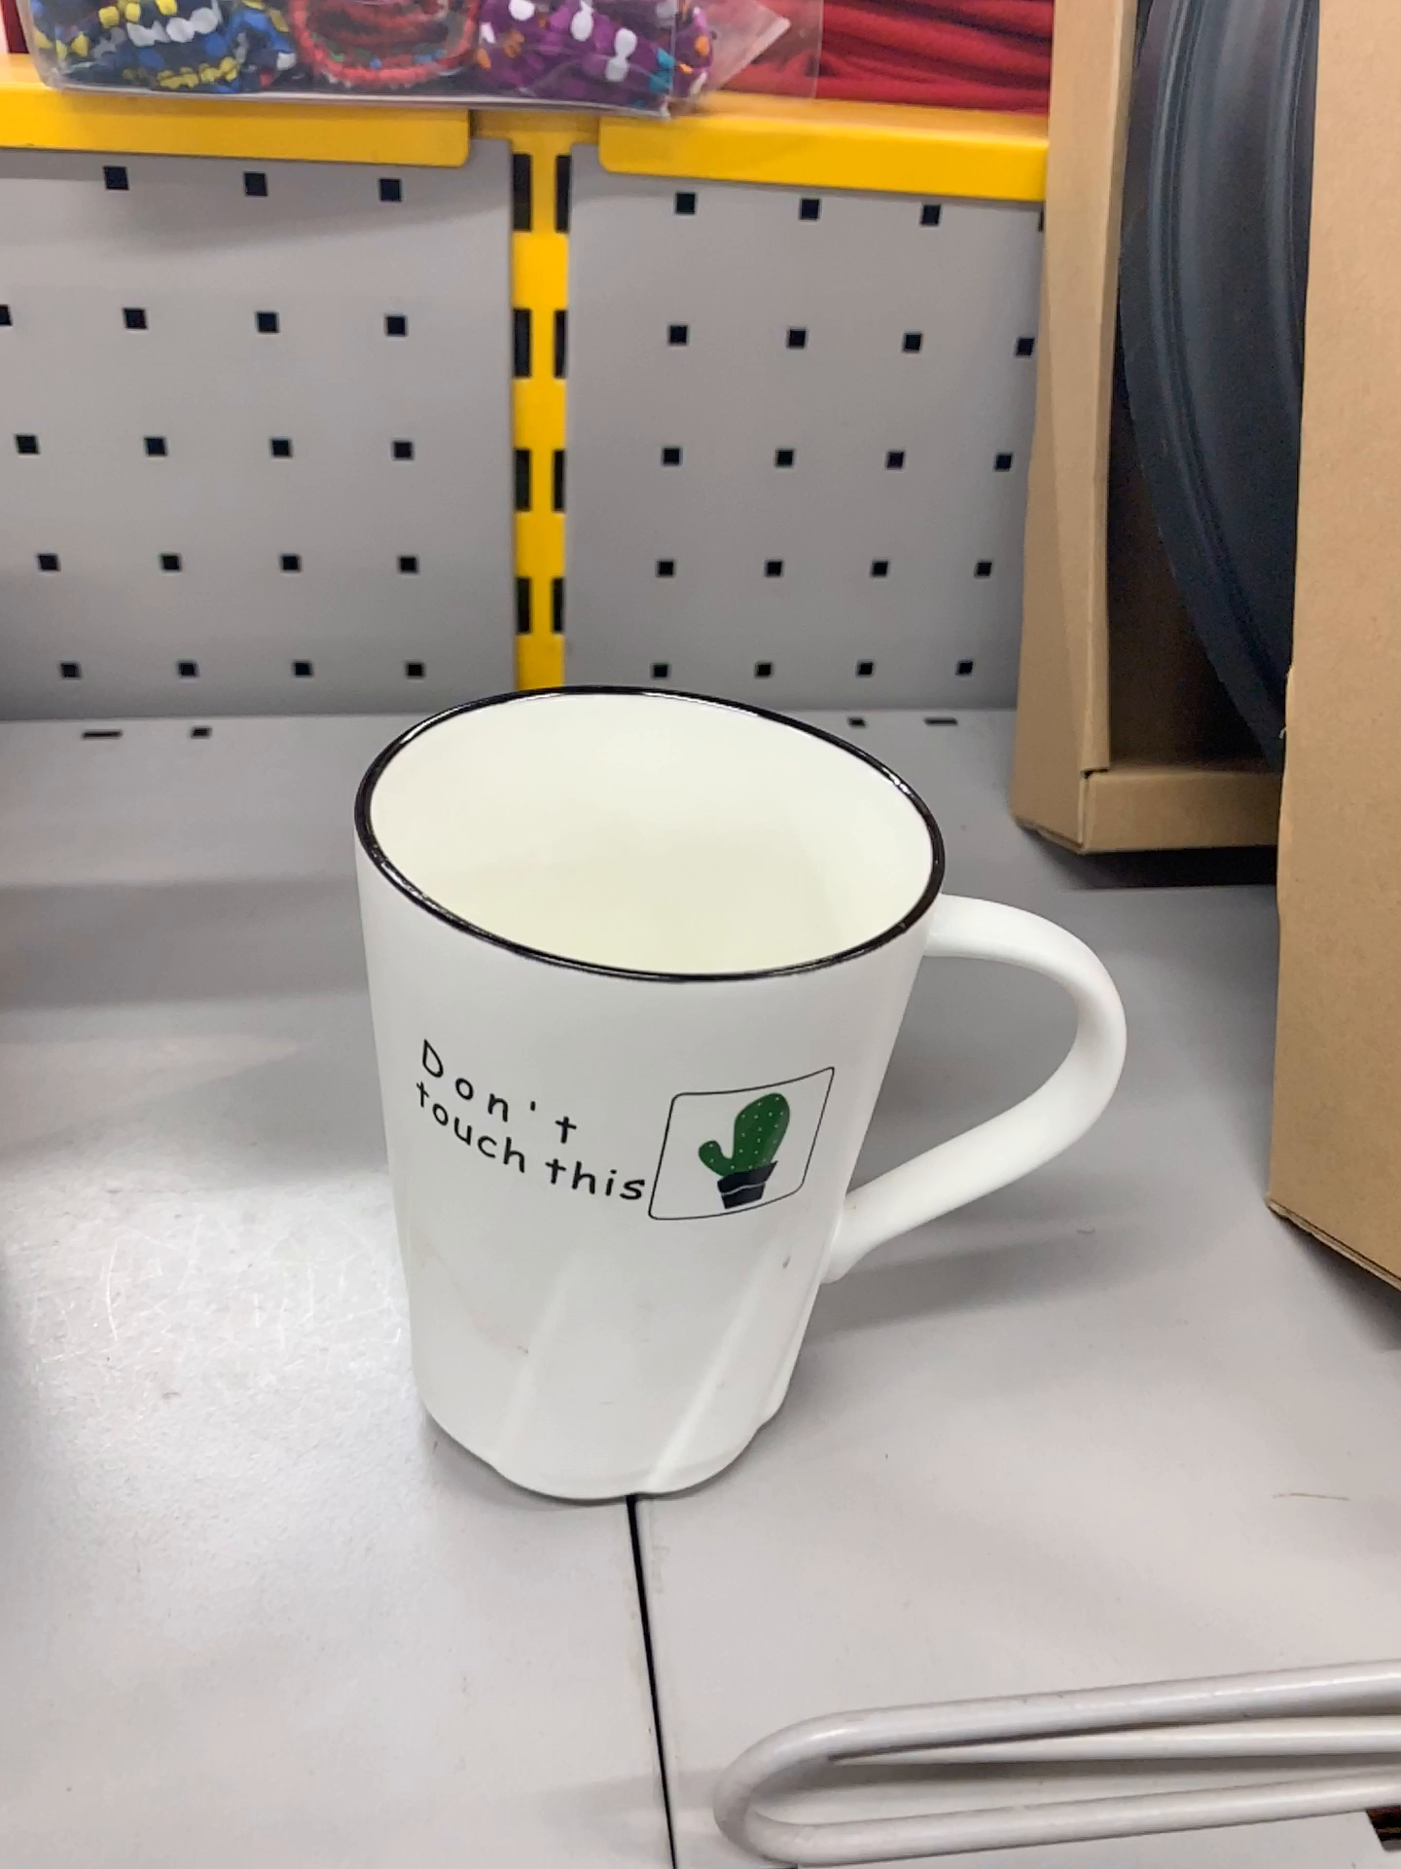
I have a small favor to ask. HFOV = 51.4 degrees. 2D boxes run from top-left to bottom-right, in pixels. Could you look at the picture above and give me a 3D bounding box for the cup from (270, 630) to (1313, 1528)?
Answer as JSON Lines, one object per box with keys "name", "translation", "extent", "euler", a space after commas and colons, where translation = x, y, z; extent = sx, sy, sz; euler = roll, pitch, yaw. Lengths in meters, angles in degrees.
{"name": "cup", "translation": [0.006, 0.024, 0.250], "extent": [0.130, 0.119, 0.090], "euler": [1, 35, -6]}
